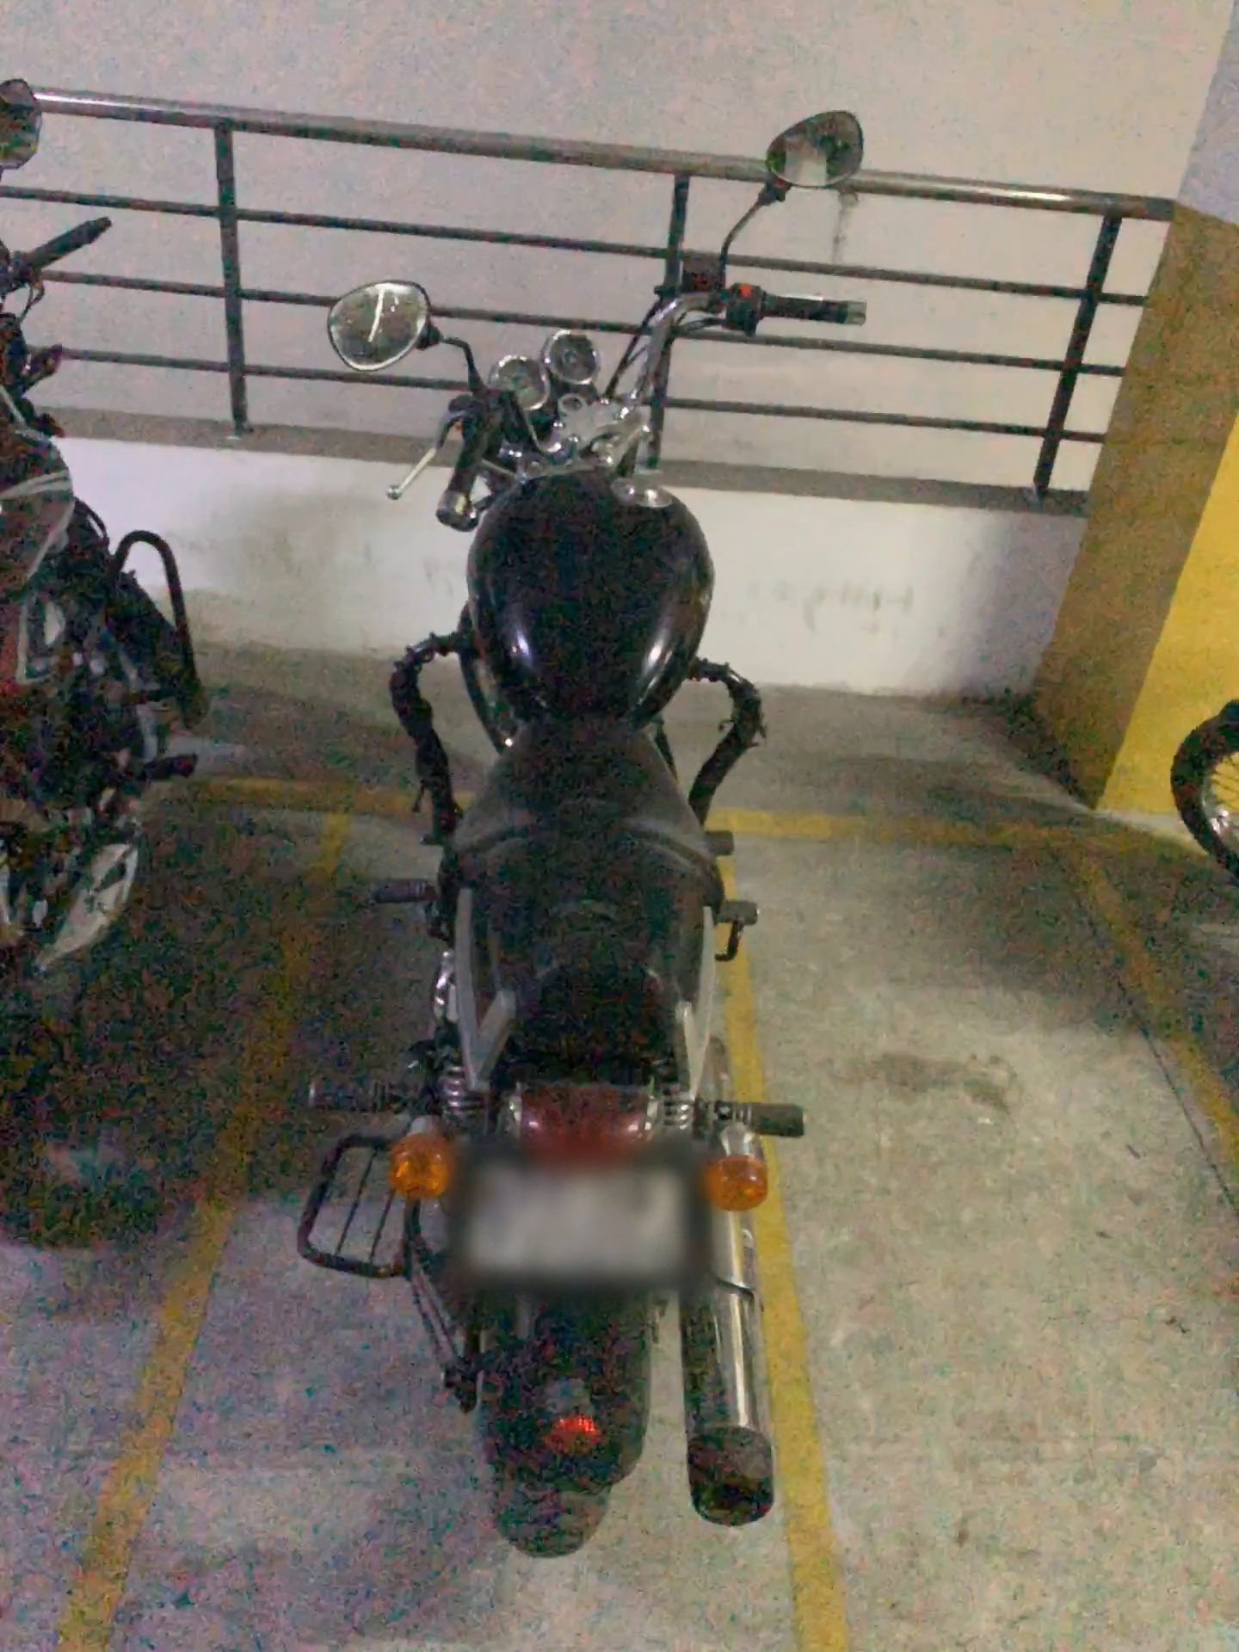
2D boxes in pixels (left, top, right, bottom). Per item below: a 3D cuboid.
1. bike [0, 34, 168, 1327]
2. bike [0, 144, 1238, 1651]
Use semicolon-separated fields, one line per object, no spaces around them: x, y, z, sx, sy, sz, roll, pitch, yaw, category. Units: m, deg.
-1.301;-0.367;2.086;0.719;1.277;1.571;2;38;-7;bike
-0.177;-0.094;1.819;0.851;1.232;1.807;0;35;-10;bike
